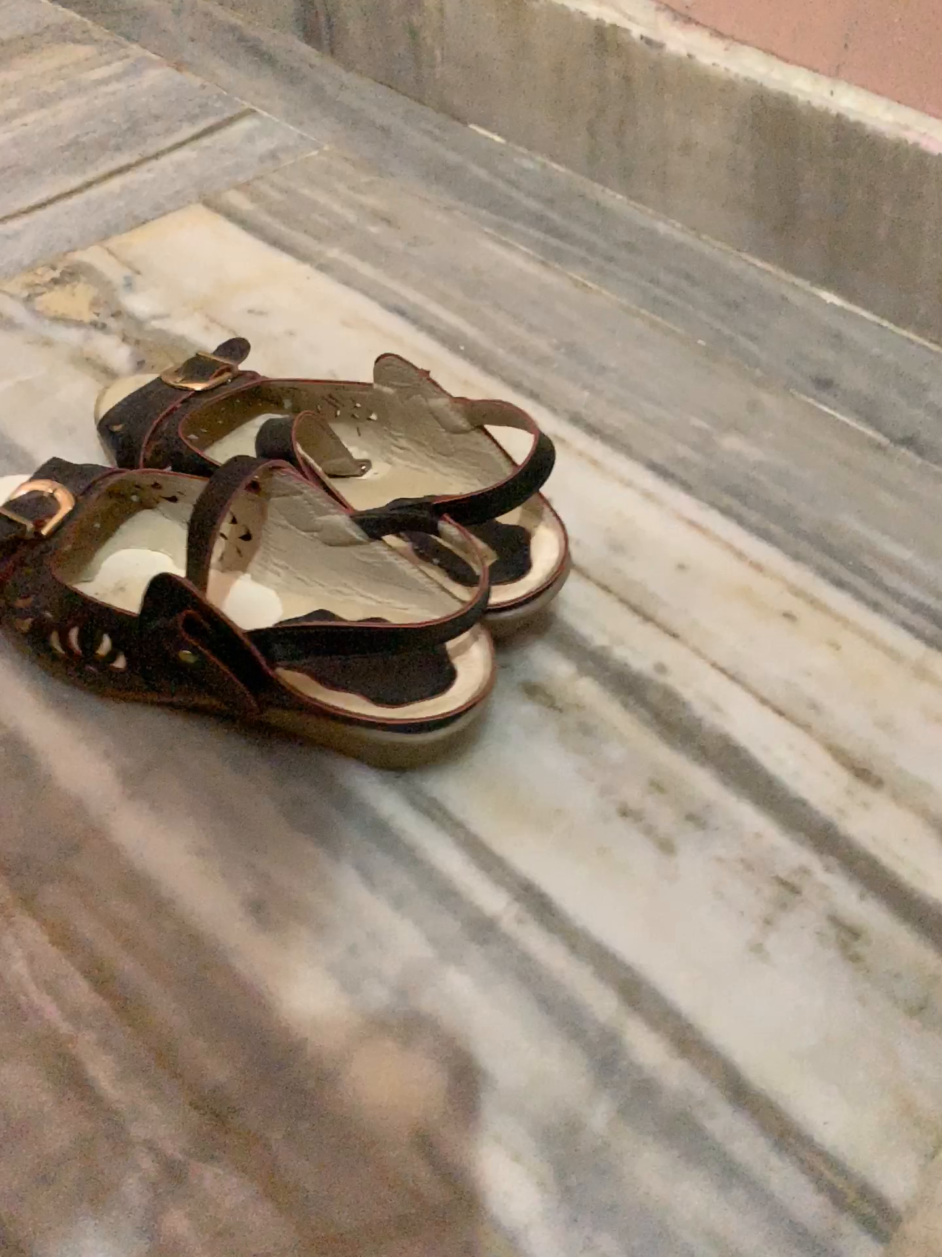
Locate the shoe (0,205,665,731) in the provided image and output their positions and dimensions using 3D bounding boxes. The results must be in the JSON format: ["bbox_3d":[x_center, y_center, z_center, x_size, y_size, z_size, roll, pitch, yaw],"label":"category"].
[{"bbox_3d":[-0.064,-0.077,0.429,0.260,0.100,0.100,27,54,16],"label":"shoe"}]

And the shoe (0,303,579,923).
[{"bbox_3d":[-0.104,-0.014,0.375,0.260,0.100,0.100,27,54,16],"label":"shoe"}]
